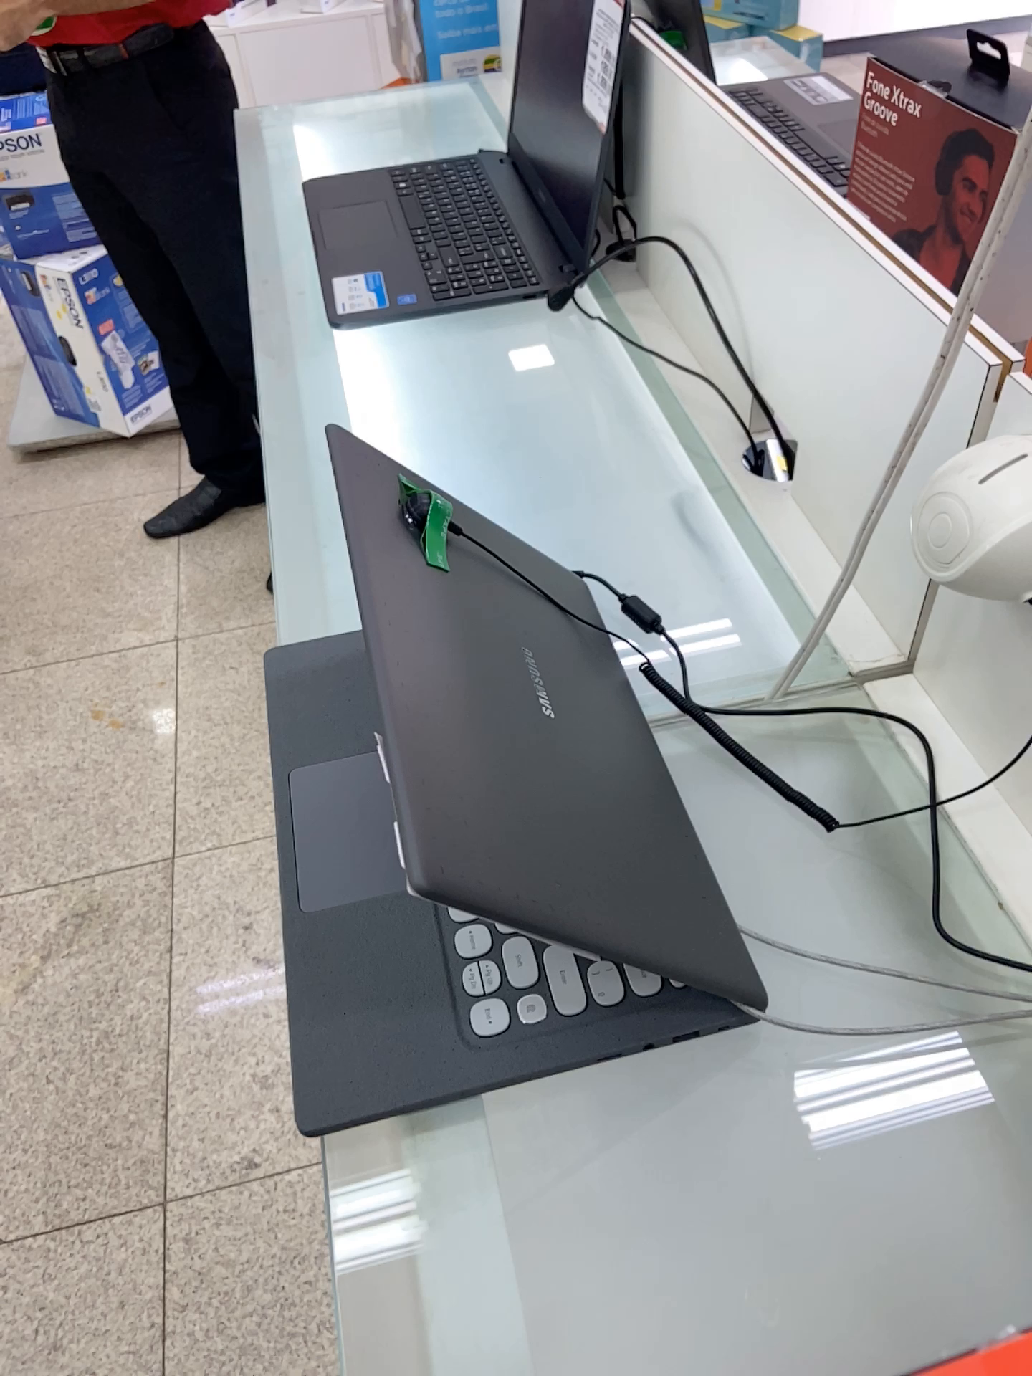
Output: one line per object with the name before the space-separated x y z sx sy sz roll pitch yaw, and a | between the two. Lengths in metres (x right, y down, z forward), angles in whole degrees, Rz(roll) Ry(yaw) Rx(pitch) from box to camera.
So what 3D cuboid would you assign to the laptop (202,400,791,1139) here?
laptop | -0.031 0.018 0.533 0.207 0.153 0.313 -12 45 -6
